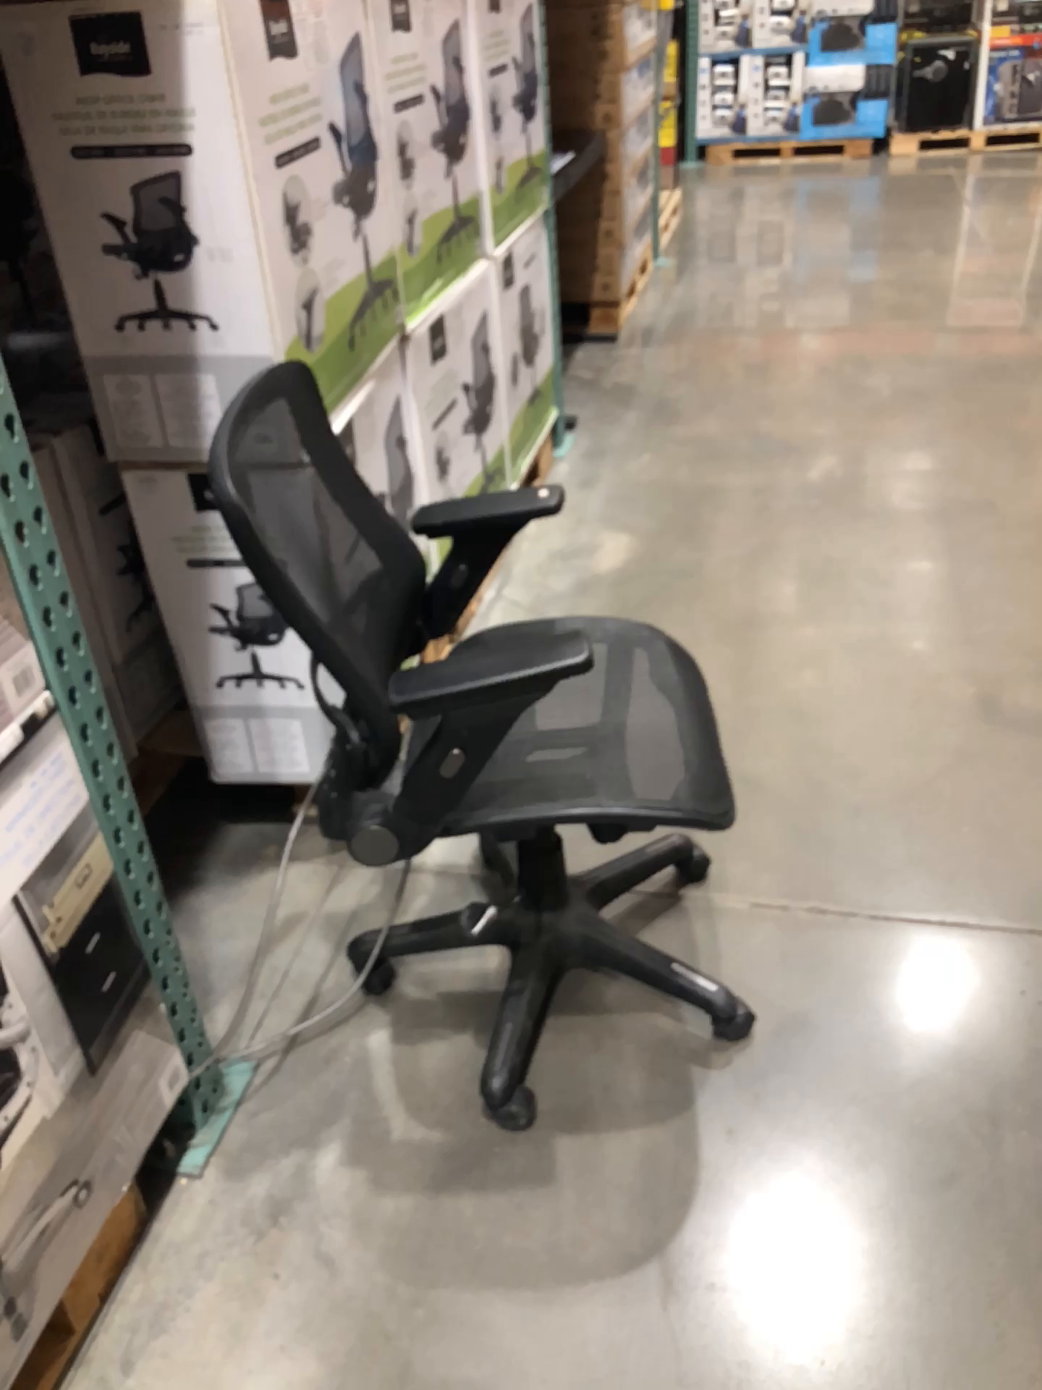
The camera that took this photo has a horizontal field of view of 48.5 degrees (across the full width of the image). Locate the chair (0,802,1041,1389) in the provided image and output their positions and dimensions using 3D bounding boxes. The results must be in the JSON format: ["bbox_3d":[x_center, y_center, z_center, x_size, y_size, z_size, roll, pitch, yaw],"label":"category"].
[{"bbox_3d":[-0.371,0.770,0.250,0.798,1.145,0.909,-2,32,4],"label":"chair"}]

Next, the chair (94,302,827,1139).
[{"bbox_3d":[-0.025,0.033,1.611,0.698,0.936,0.637,-3,32,3],"label":"chair"}]
